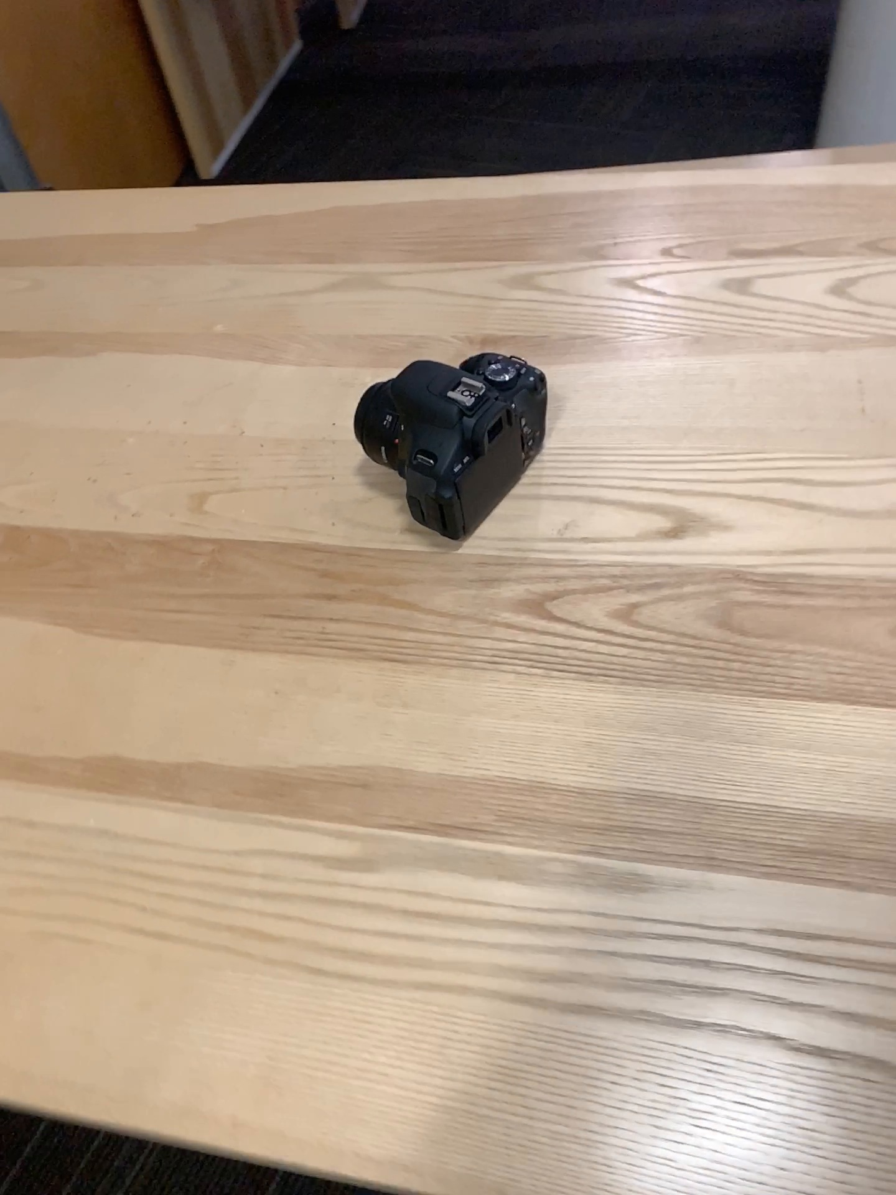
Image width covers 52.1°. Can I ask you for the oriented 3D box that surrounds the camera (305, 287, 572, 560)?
[{"bbox_3d":[0.000,-0.129,0.661,0.120,0.100,0.145,25,57,26],"label":"camera"}]
